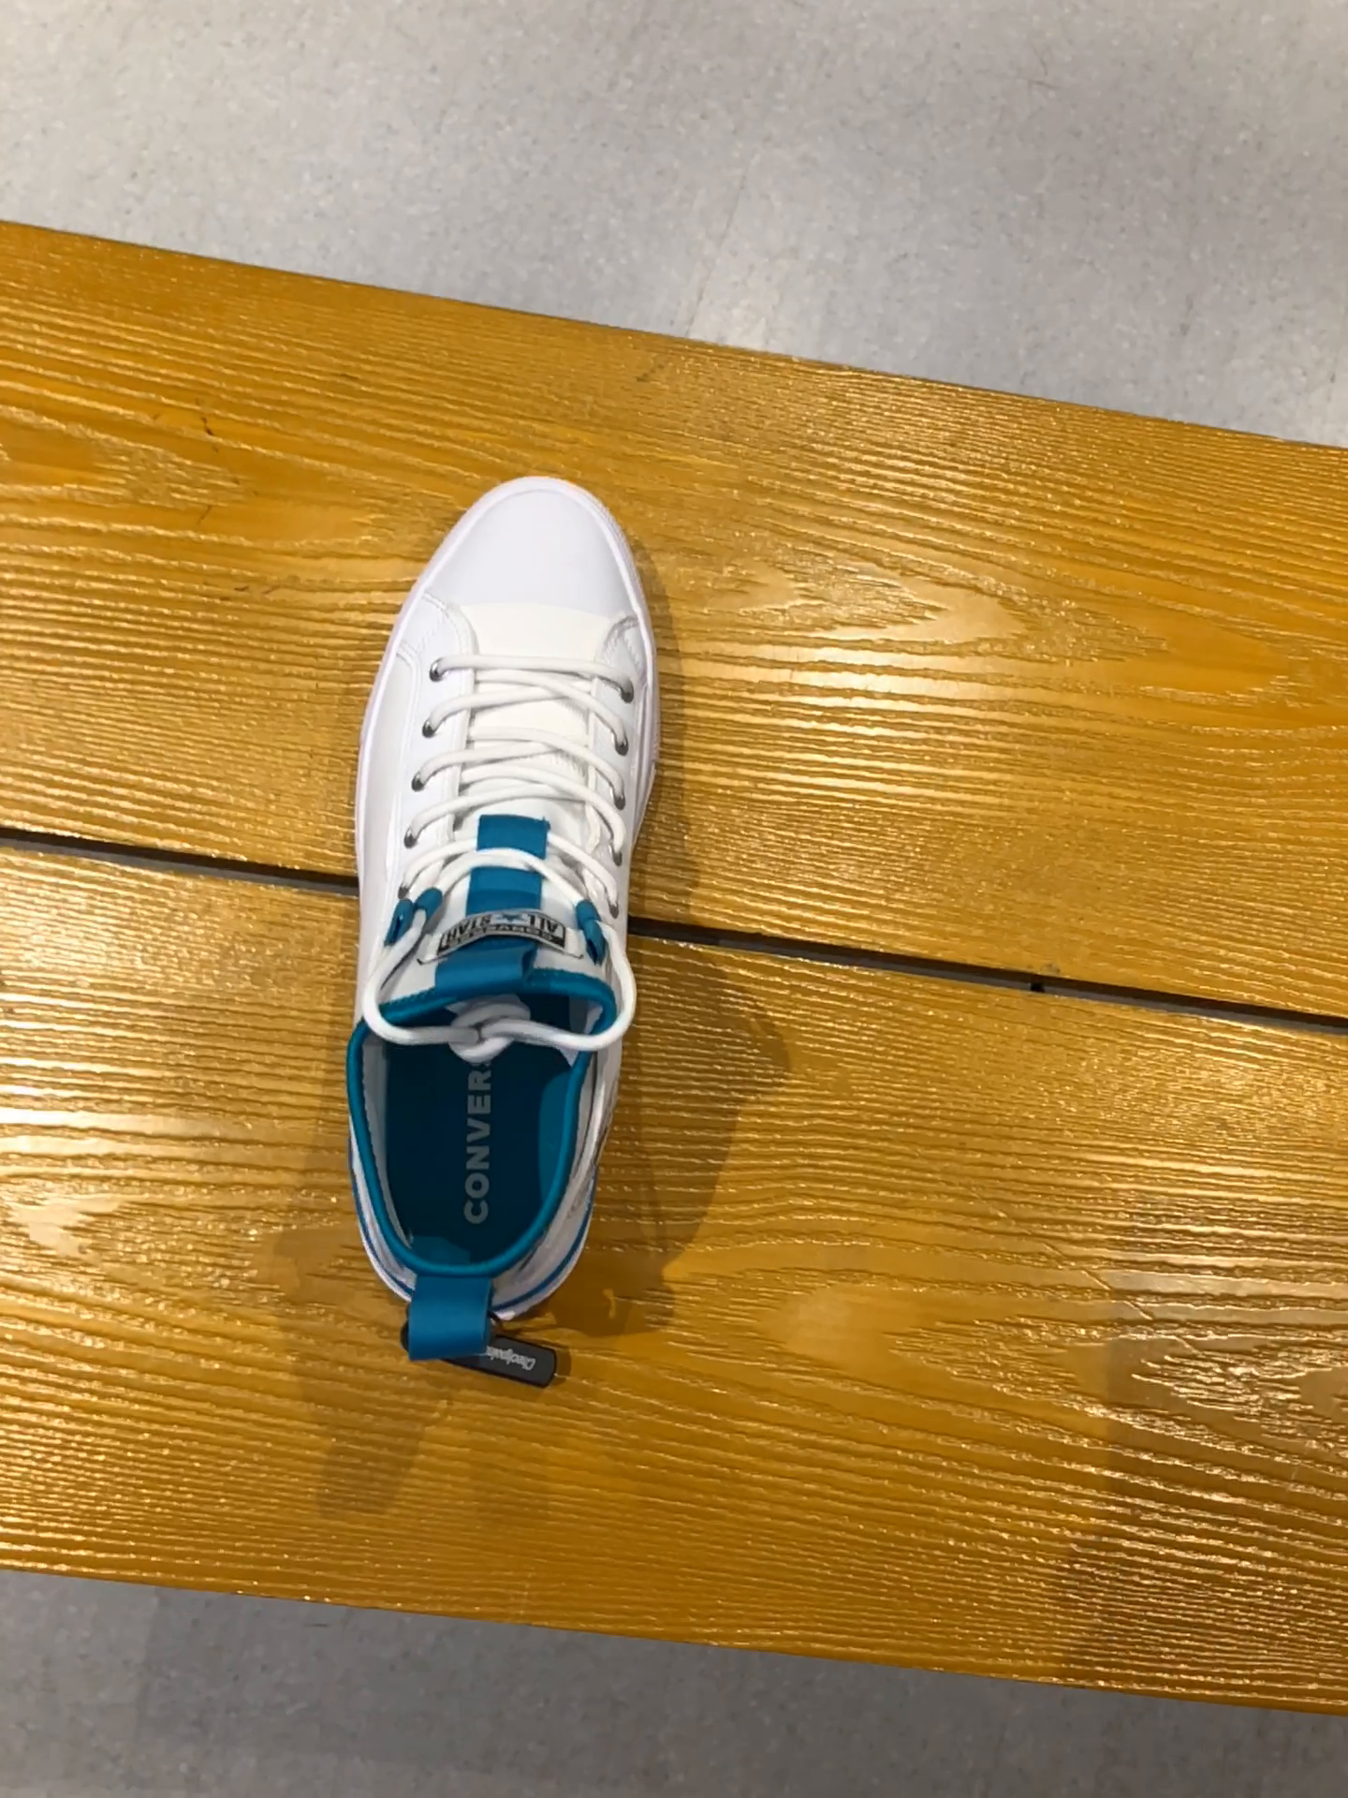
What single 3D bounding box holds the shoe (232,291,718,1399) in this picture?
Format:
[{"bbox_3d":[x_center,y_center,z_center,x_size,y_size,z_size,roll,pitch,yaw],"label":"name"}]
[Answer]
[{"bbox_3d":[-0.054,-0.009,0.469,0.108,0.158,0.293,3,79,-5],"label":"shoe"}]
